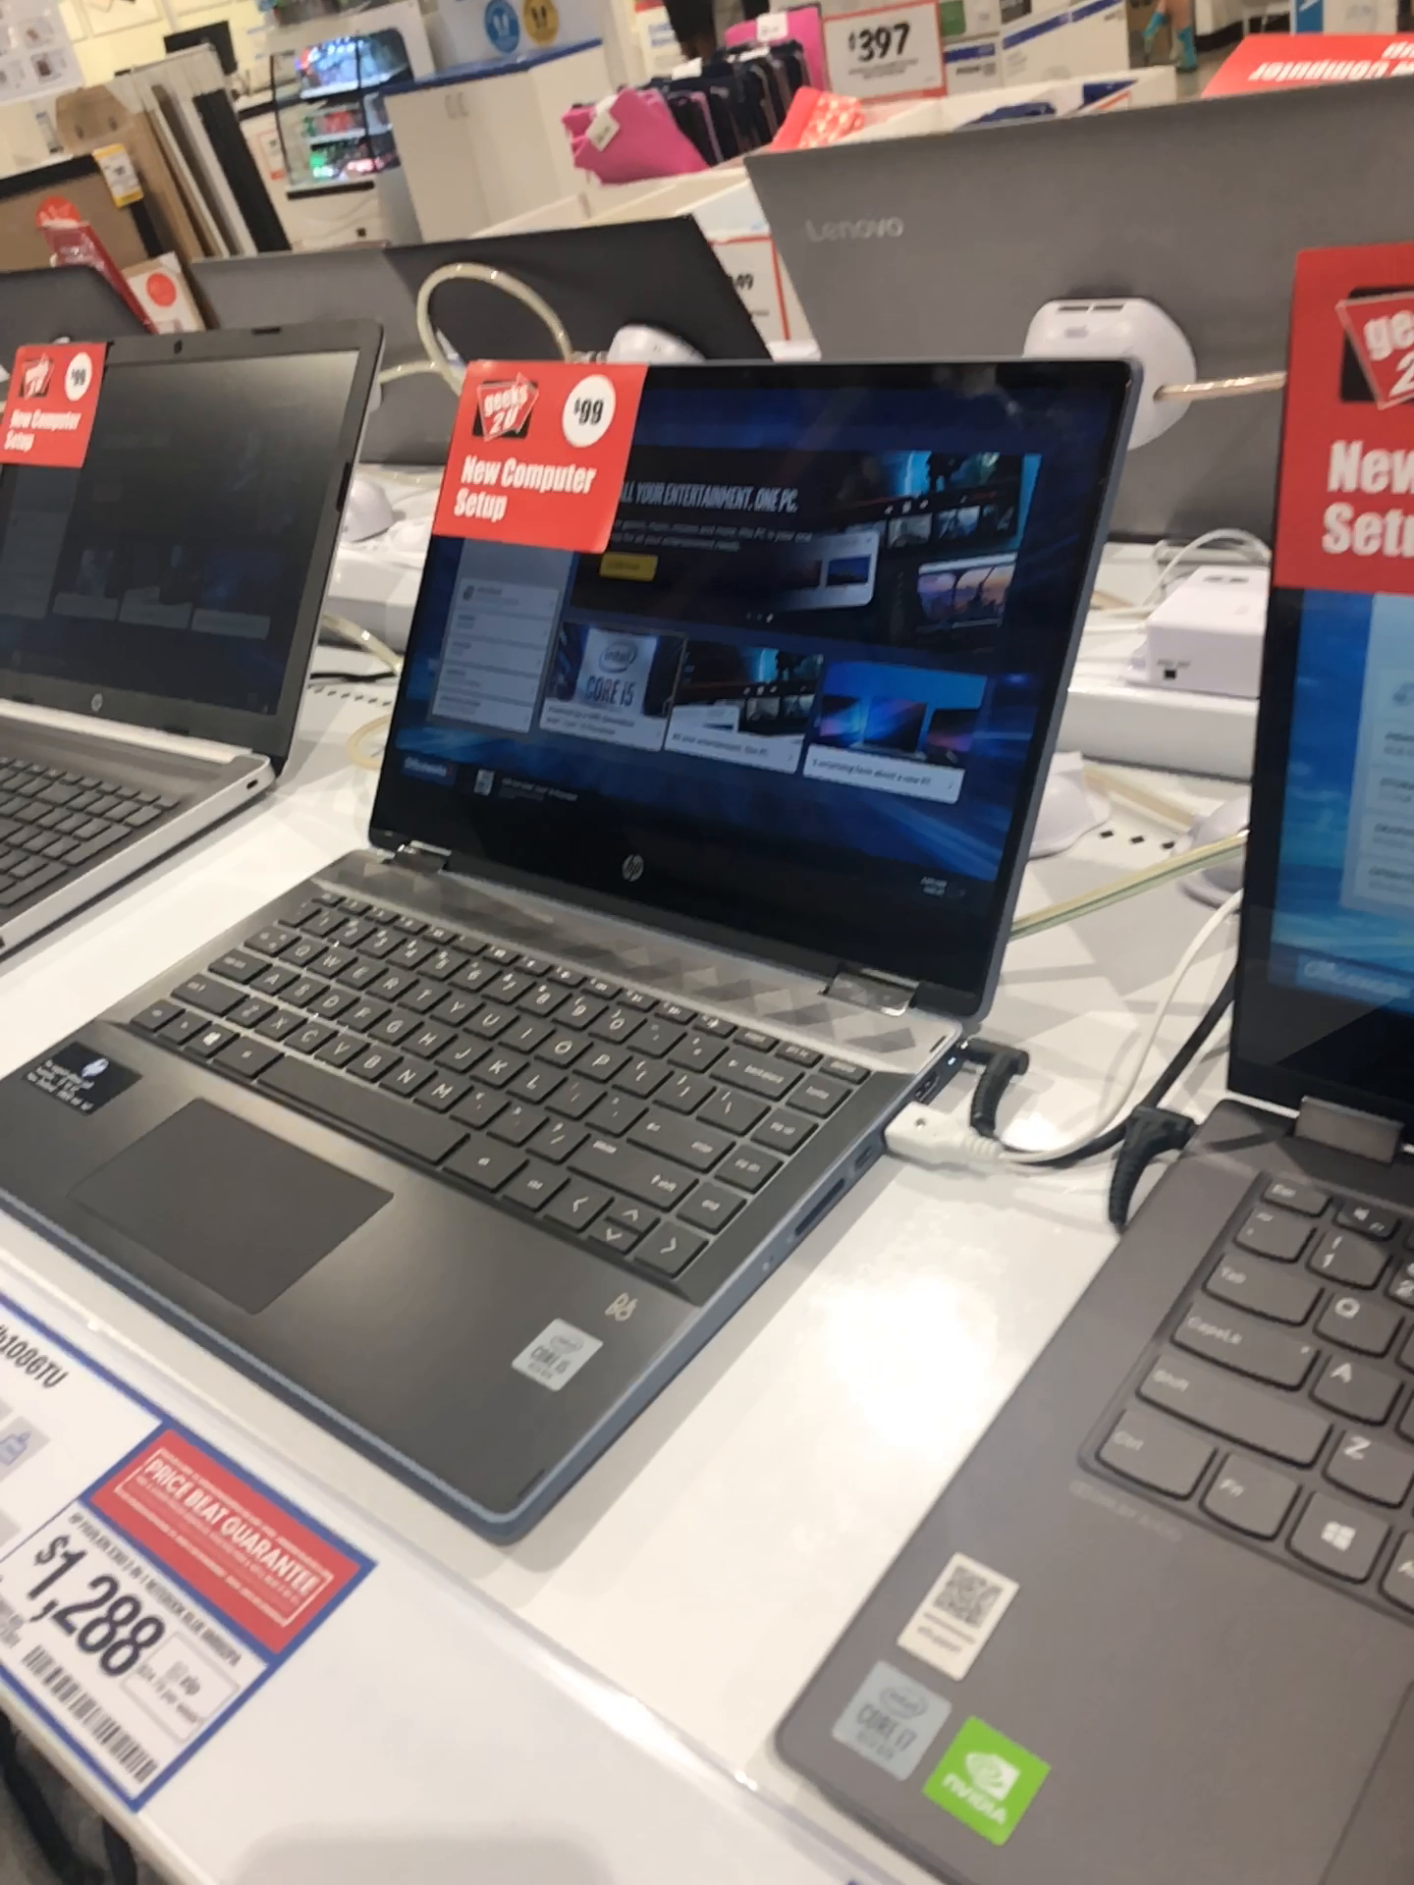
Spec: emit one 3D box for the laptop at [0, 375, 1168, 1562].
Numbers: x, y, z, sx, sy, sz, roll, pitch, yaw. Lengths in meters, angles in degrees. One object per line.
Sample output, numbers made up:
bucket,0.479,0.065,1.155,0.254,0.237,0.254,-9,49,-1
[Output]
laptop,-0.080,-0.049,0.517,0.315,0.165,0.349,16,42,38
